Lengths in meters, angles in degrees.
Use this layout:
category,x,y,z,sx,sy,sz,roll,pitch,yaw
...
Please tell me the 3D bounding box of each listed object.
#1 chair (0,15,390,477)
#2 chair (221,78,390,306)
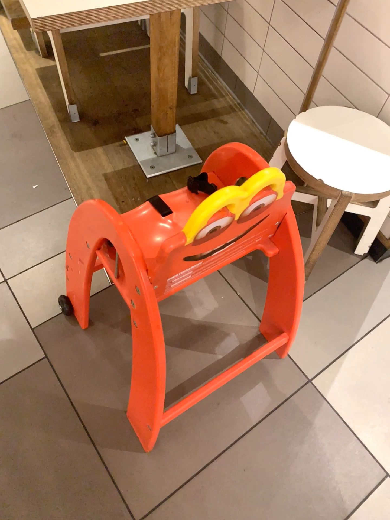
category,x,y,z,sx,sy,sz,roll,pitch,yaw
chair,-0.029,-0.001,0.884,0.582,0.655,0.583,-29,65,-22
chair,0.345,-0.184,1.162,0.321,0.447,0.372,-29,65,-22
